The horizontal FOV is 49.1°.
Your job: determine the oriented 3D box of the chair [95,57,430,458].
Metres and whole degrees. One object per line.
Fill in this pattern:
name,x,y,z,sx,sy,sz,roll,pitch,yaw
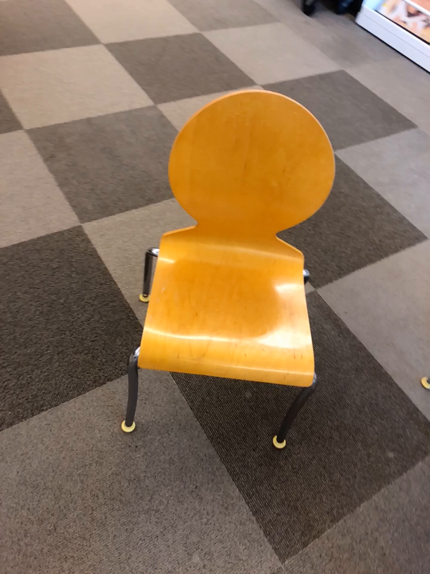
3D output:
chair,0.035,-0.005,1.053,0.465,0.723,0.472,8,50,-4
